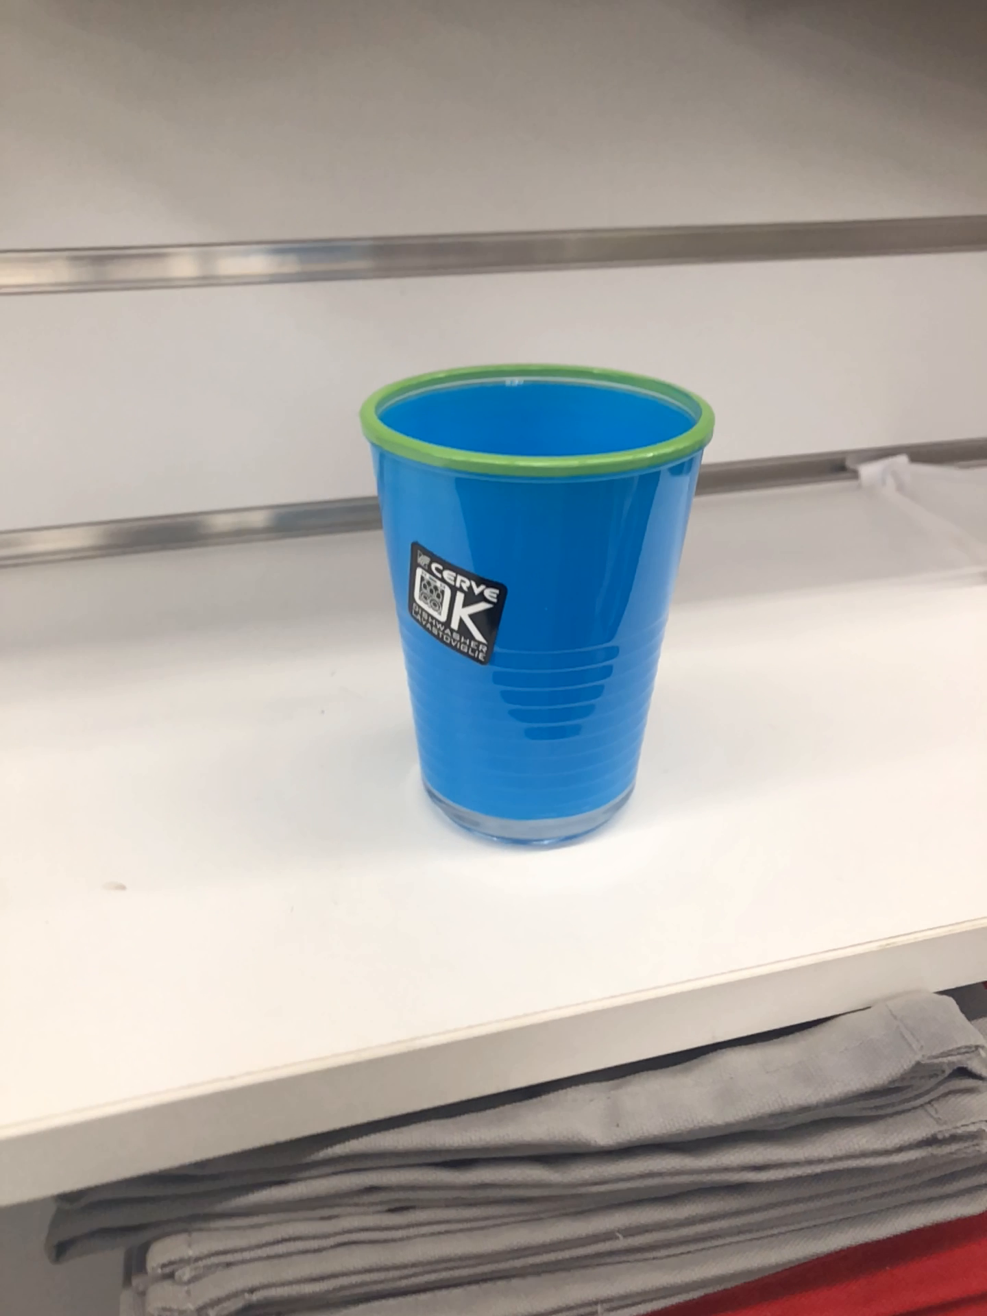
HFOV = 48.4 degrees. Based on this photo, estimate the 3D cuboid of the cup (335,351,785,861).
[{"bbox_3d":[0.009,-0.018,0.267,0.080,0.090,0.084,1,28,0],"label":"cup"}]
